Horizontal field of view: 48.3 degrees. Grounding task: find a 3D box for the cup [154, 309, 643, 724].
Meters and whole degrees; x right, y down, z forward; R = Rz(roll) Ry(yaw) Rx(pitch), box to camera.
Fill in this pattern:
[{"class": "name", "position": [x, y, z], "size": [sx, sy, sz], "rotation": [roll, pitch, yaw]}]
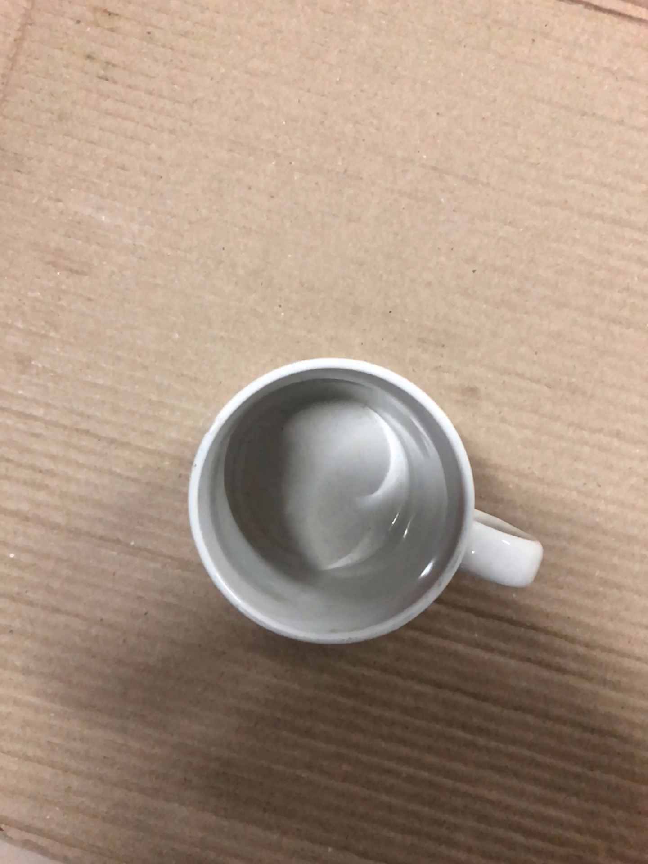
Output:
[{"class": "cup", "position": [0.020, 0.025, 0.227], "size": [0.110, 0.080, 0.080], "rotation": [16, 83, 0]}]
